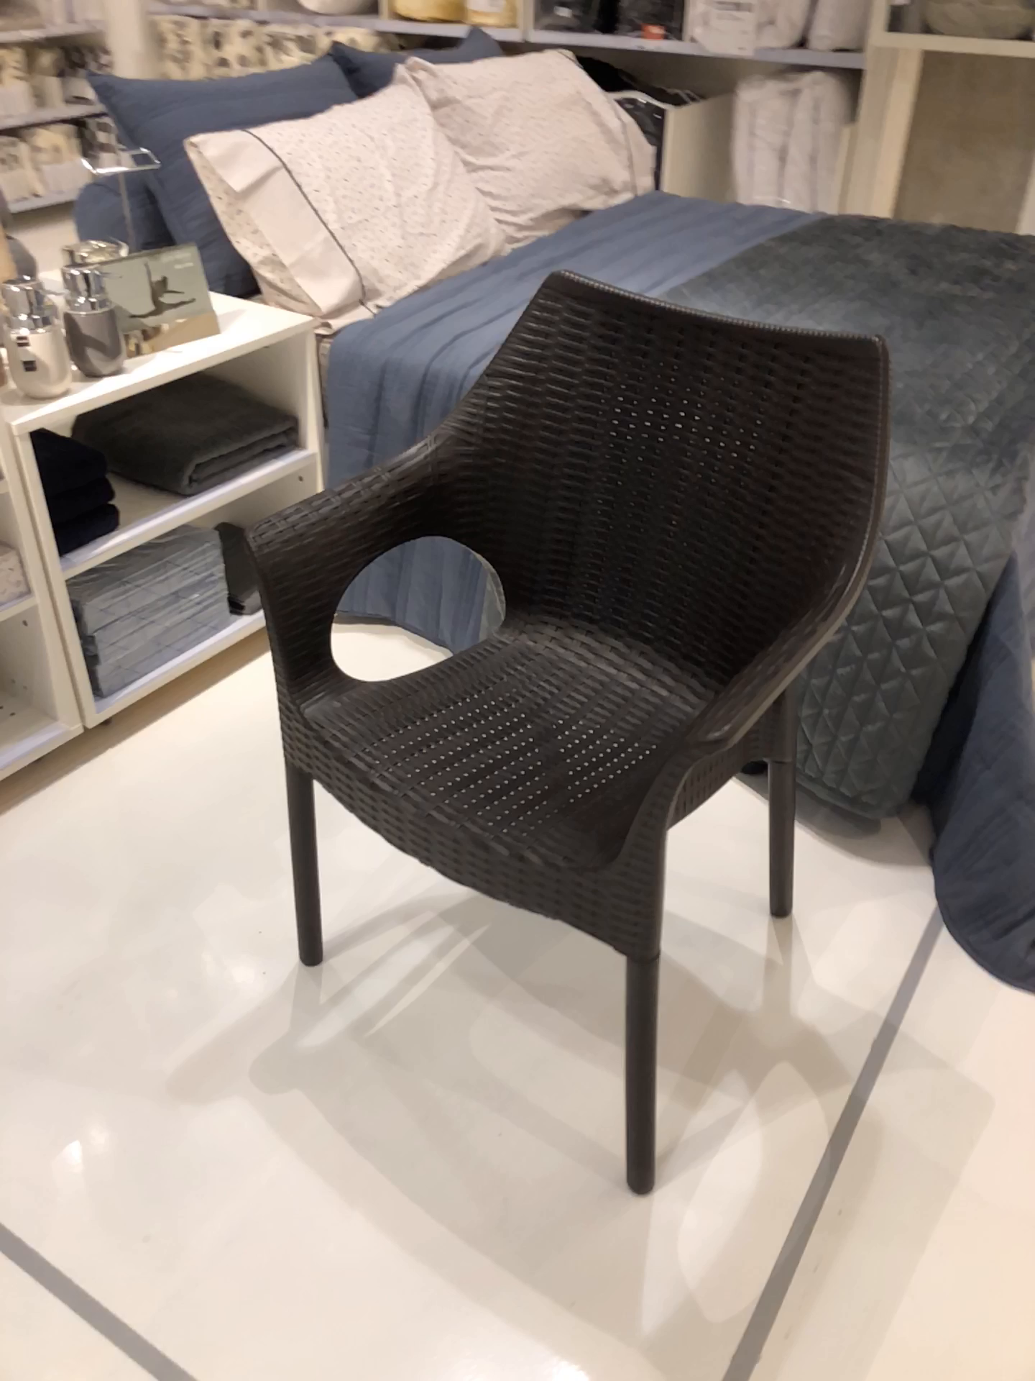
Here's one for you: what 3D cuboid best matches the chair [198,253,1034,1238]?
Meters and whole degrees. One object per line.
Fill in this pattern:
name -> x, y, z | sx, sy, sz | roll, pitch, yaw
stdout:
chair -> 0.116, 0.008, 1.279 | 0.591, 0.764, 0.573 | 24, 41, 31
